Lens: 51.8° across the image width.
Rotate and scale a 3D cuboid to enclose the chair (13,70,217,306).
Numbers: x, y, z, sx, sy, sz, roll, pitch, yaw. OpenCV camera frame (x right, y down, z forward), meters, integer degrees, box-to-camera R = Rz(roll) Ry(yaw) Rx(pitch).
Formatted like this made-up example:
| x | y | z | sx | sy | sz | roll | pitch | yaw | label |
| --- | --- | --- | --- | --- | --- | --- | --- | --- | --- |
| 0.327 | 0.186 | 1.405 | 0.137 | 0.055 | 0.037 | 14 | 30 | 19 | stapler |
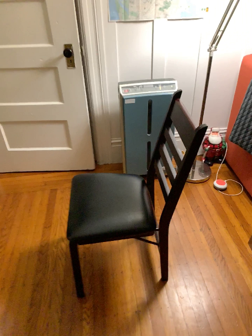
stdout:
| x | y | z | sx | sy | sz | roll | pitch | yaw | label |
| --- | --- | --- | --- | --- | --- | --- | --- | --- | --- |
| -0.041 | 0.102 | 1.145 | 0.550 | 0.865 | 0.493 | -6 | 36 | -6 | chair |
